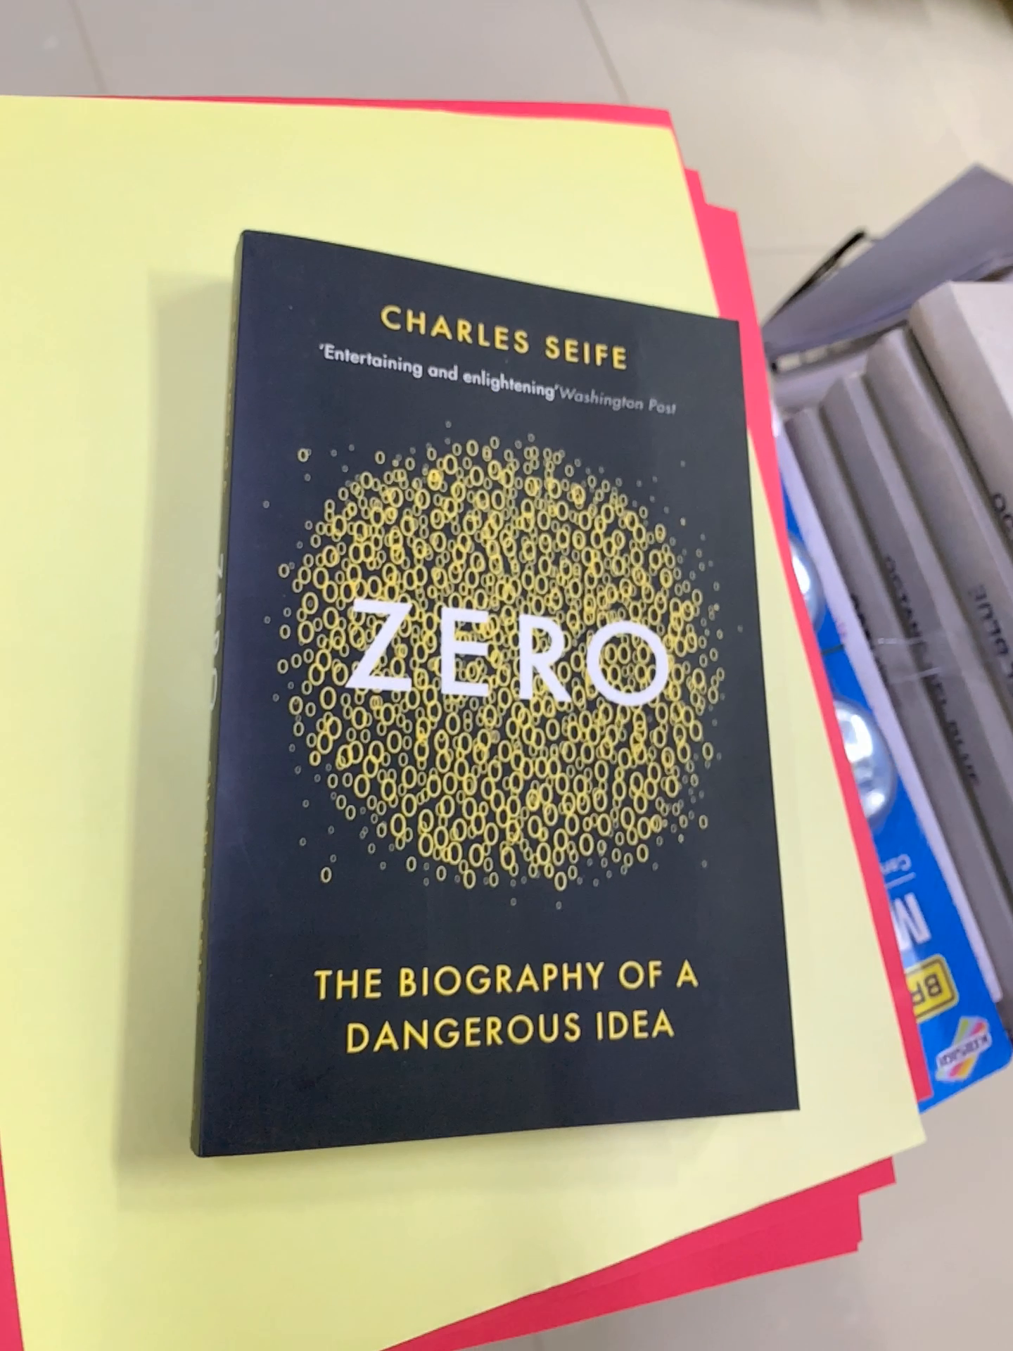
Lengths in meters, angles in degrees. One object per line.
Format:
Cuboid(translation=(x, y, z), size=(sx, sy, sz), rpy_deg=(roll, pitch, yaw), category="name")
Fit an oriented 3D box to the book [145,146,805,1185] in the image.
Cuboid(translation=(-0.006, -0.004, 0.240), size=(0.130, 0.040, 0.200), rpy_deg=(4, 77, -19), category="book")
